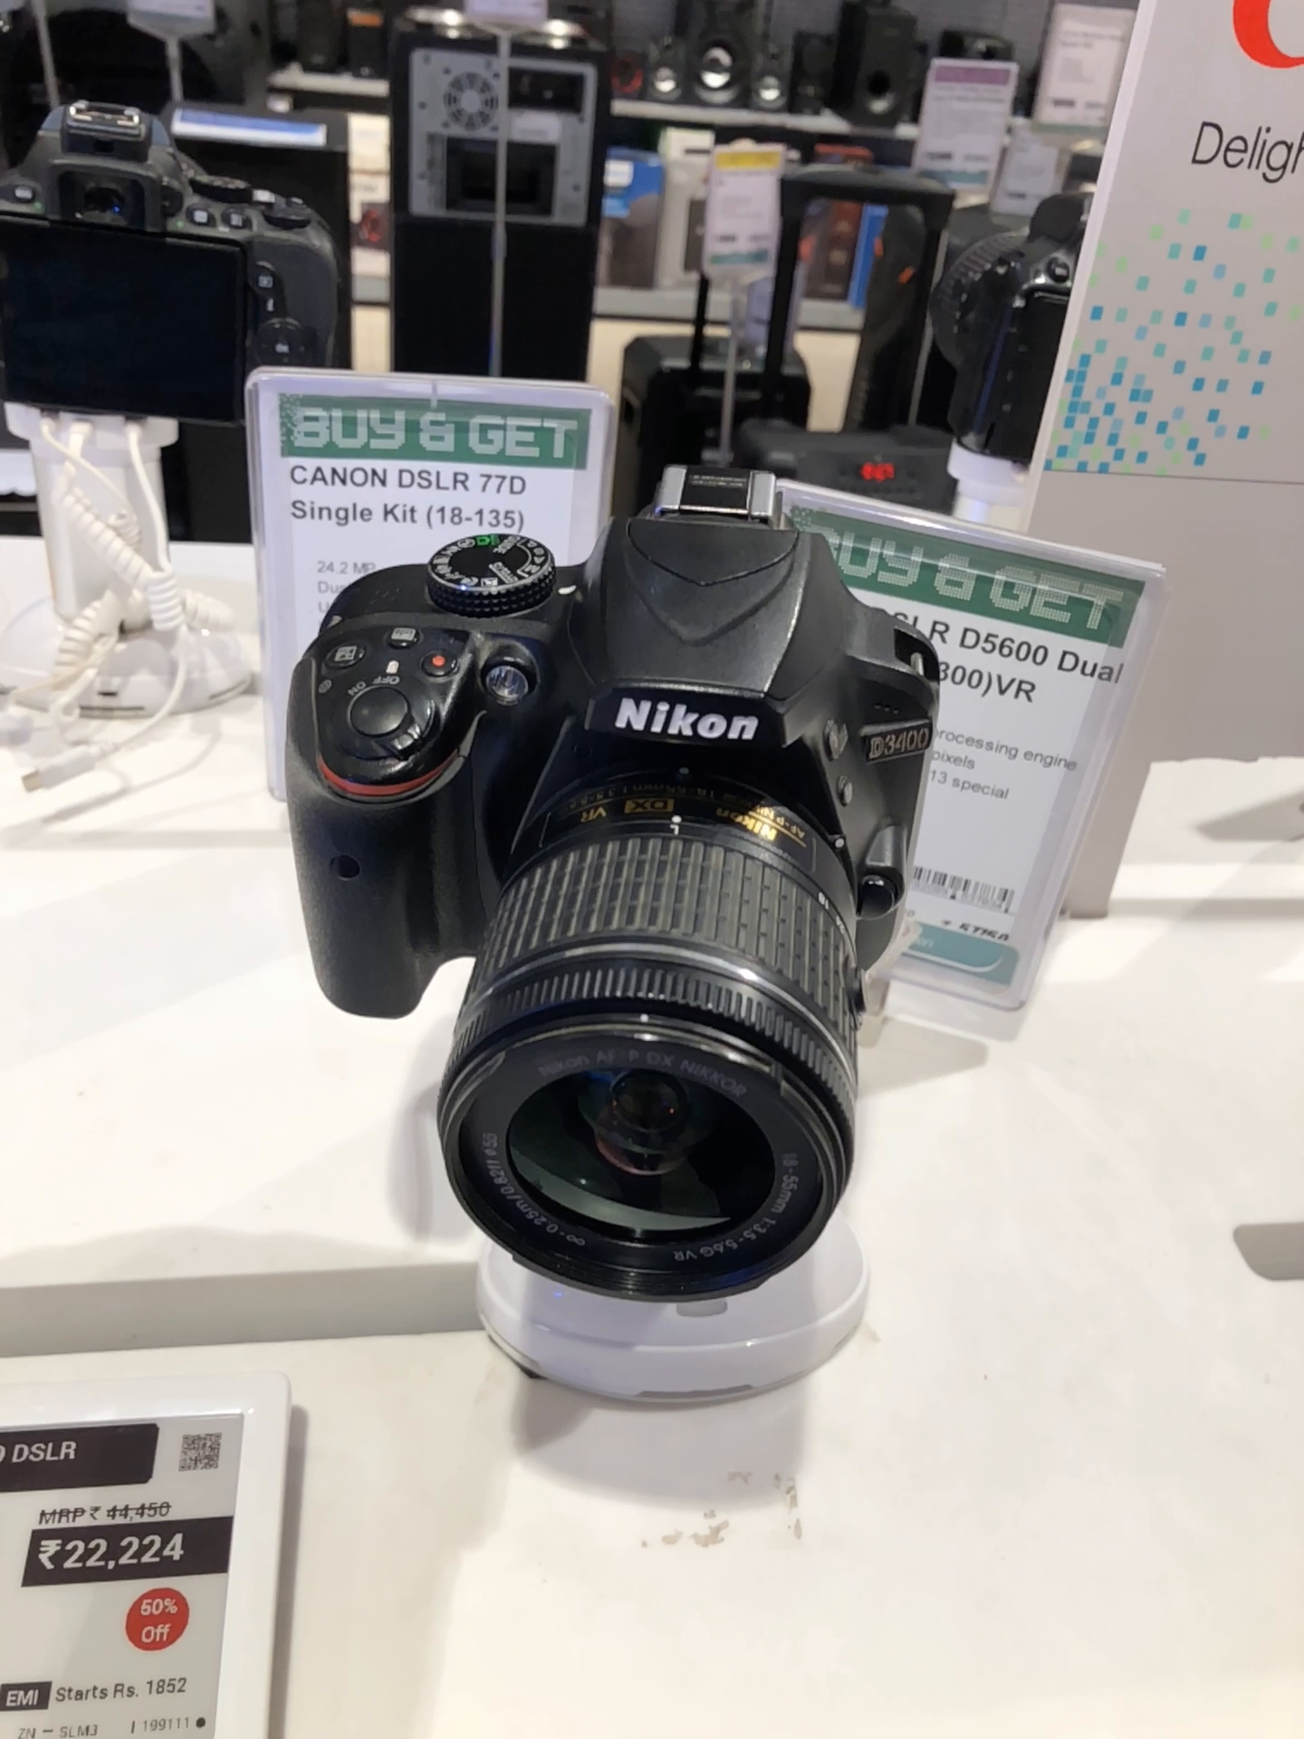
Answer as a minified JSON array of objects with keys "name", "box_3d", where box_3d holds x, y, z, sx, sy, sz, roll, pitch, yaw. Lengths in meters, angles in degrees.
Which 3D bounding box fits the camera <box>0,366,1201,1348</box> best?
[{"name":"camera","box_3d":[-0.006,-0.010,0.231,0.130,0.089,0.121,6,35,-1]}]
